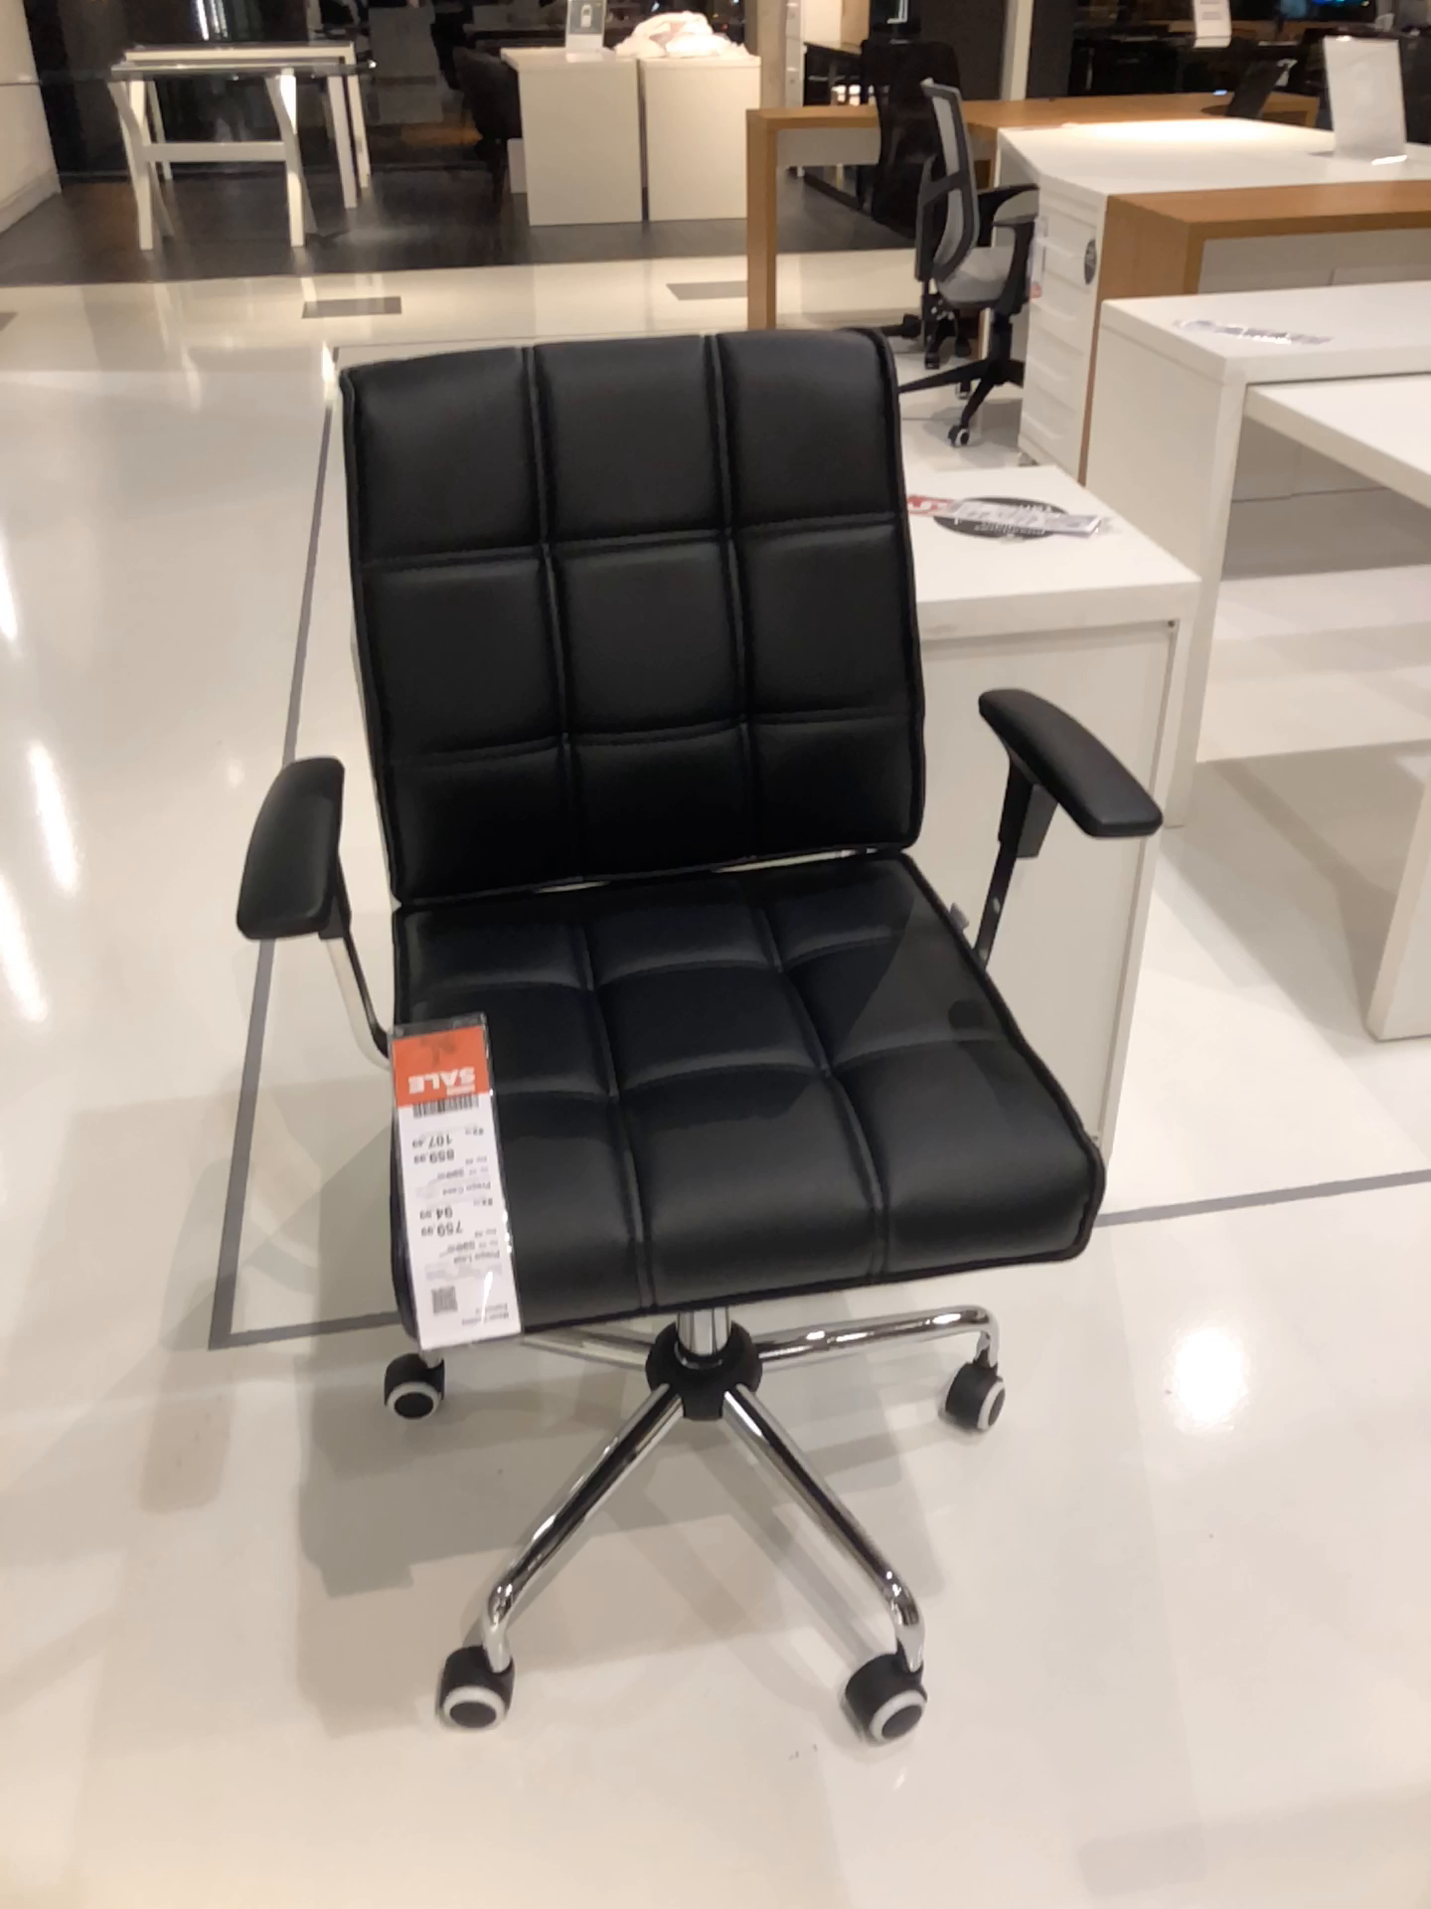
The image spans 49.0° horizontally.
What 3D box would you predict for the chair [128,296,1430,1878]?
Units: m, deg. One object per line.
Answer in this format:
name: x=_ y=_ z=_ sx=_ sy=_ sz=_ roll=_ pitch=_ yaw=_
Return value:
chair: x=-0.021 y=0.043 z=1.258 sx=0.620 sy=0.913 sz=0.745 roll=-8 pitch=33 yaw=-11
